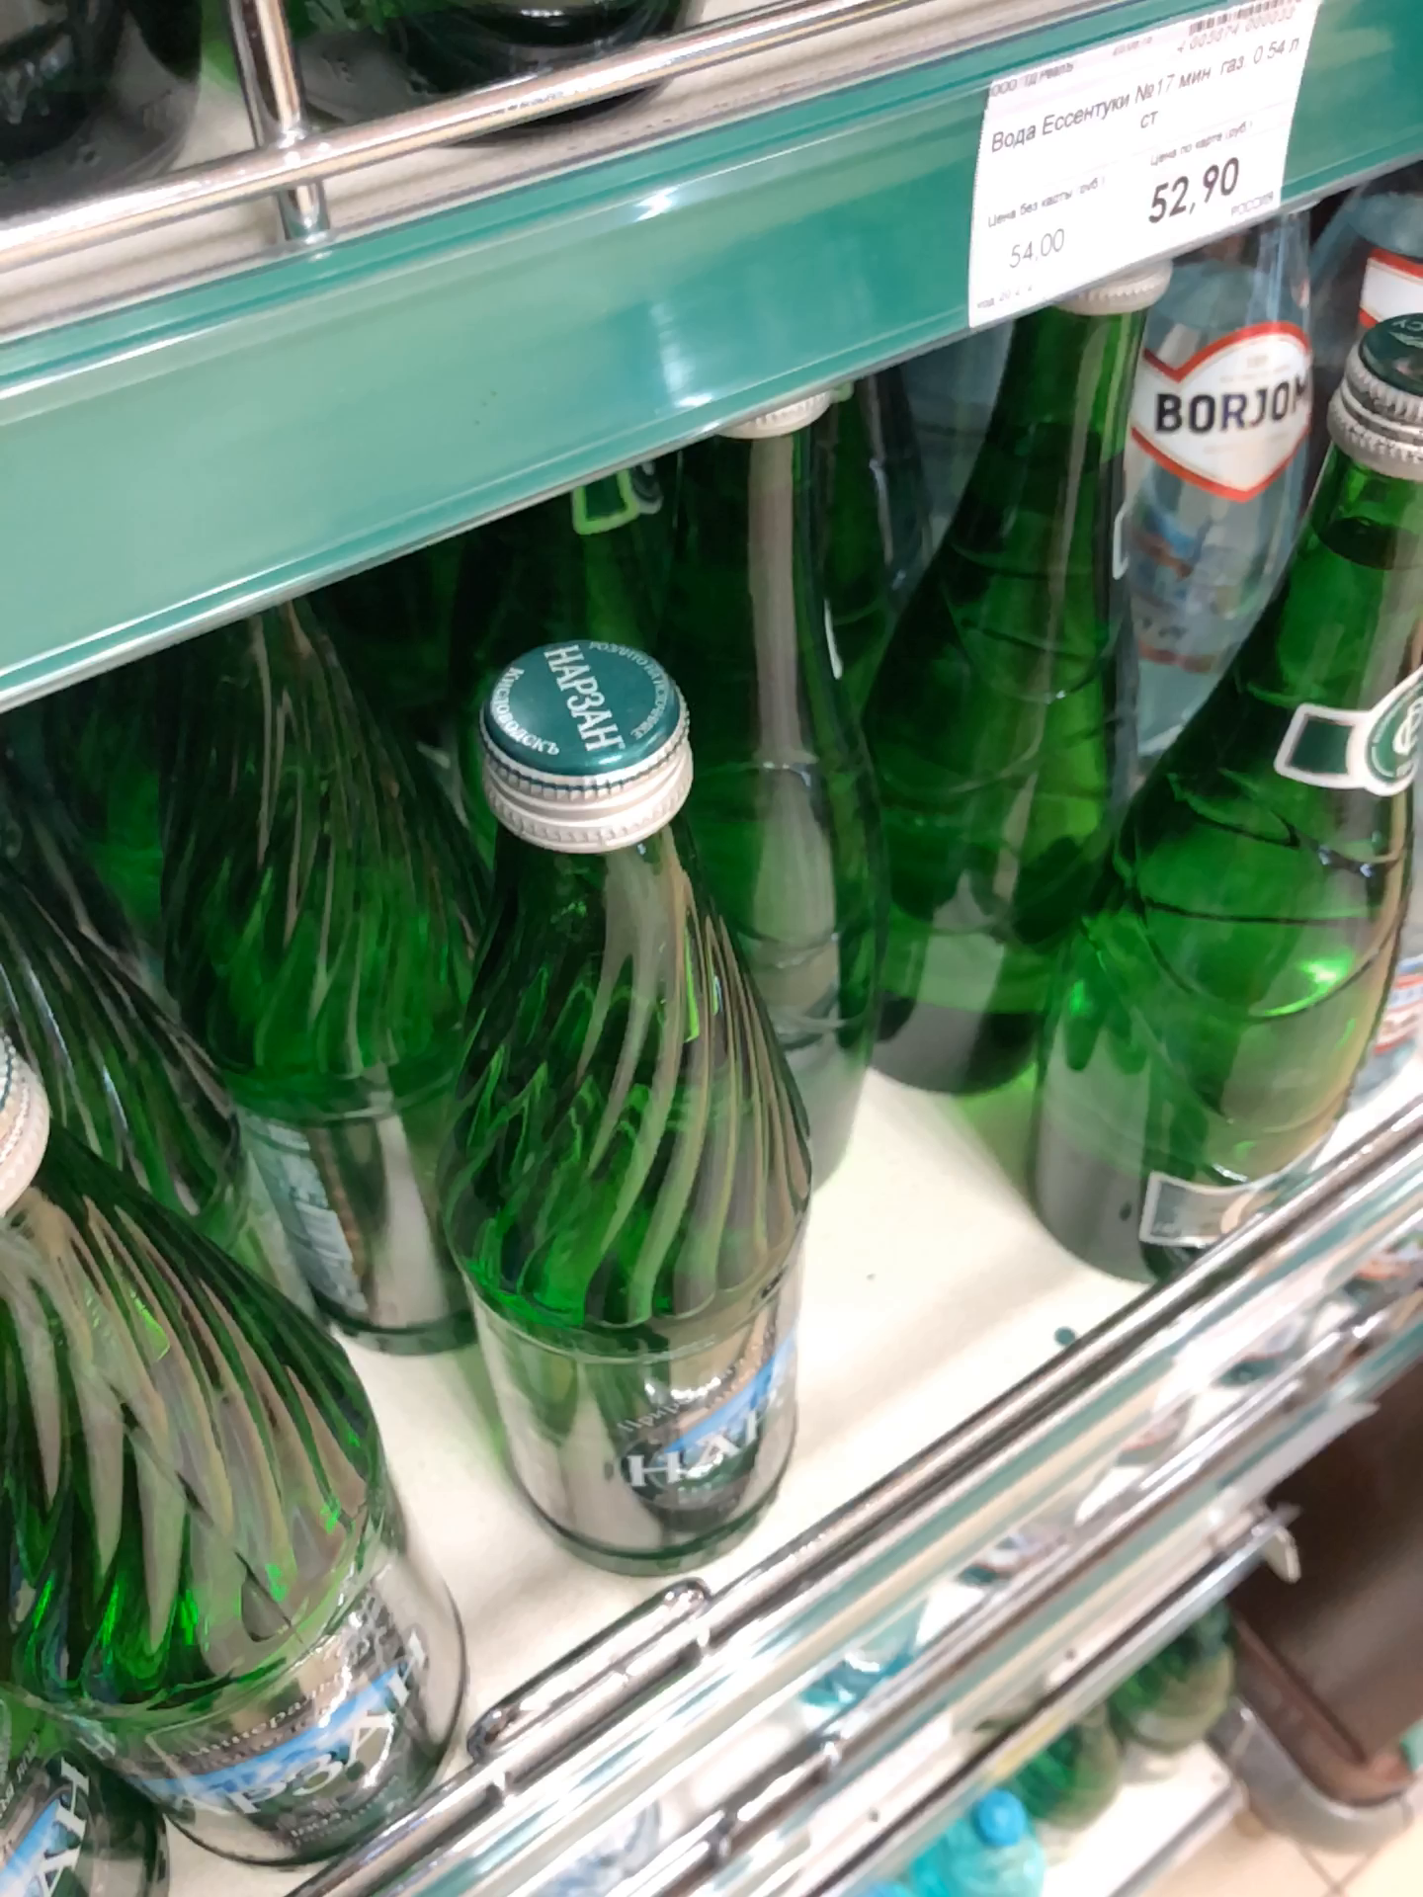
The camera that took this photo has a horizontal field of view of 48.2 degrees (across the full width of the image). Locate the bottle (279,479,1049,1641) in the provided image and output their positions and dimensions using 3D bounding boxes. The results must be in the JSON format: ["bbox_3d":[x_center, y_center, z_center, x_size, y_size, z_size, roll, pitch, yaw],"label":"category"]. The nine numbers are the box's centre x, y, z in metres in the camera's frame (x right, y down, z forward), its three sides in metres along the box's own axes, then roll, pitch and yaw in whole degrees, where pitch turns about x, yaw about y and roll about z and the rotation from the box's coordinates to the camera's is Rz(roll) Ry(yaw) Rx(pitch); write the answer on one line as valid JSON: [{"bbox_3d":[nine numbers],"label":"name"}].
[{"bbox_3d":[-0.005,0.044,0.299,0.080,0.240,0.060,-31,57,-22],"label":"bottle"}]
